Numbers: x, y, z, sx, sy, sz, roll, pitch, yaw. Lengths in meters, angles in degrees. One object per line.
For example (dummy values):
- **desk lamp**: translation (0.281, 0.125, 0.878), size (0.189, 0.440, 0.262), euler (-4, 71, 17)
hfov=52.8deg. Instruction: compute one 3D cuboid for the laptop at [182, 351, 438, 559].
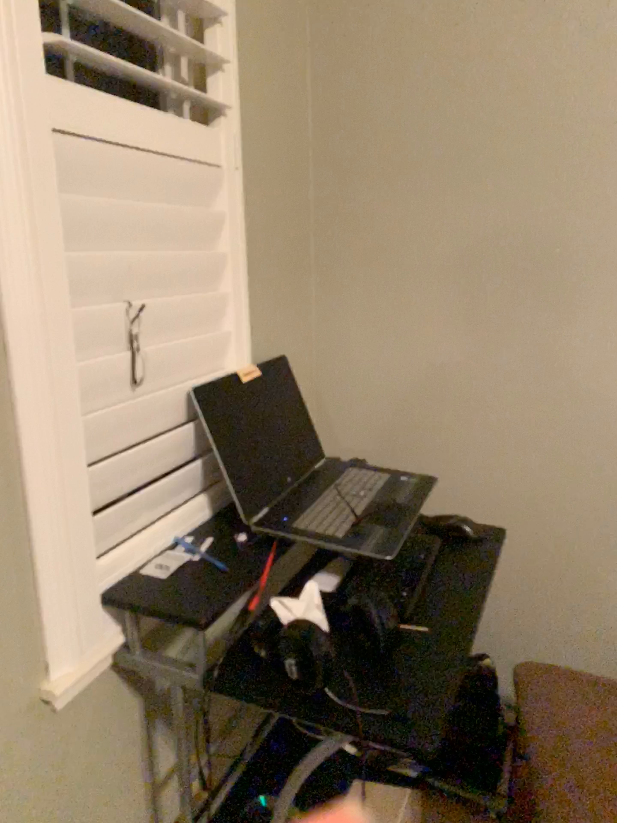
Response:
- **laptop**: translation (0.032, 0.055, 1.360), size (0.418, 0.264, 0.434), euler (8, 15, 21)
